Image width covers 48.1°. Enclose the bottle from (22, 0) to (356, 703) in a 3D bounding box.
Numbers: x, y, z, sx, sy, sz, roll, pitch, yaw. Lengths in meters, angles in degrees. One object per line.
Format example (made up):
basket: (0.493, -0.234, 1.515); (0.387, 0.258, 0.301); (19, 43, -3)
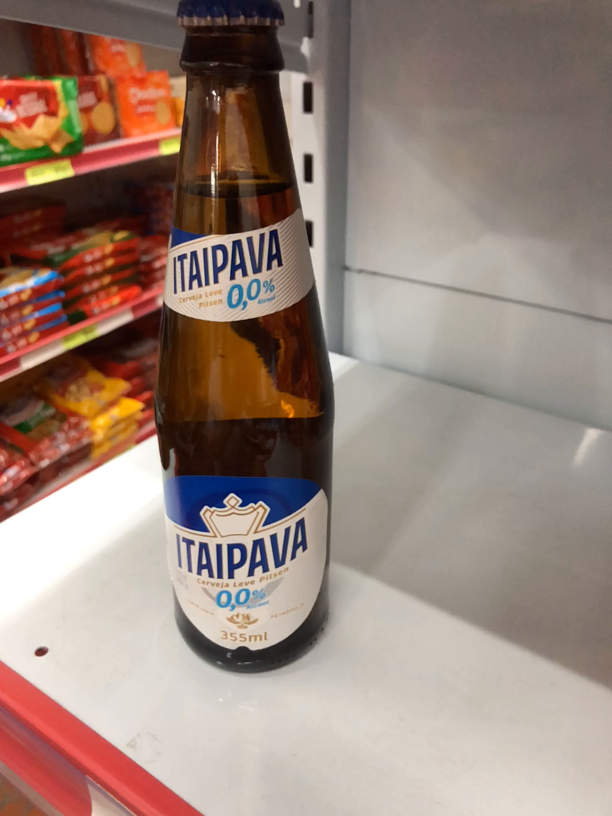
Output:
bottle: (-0.019, -0.010, 0.204); (0.060, 0.208, 0.060); (-1, 29, 0)
